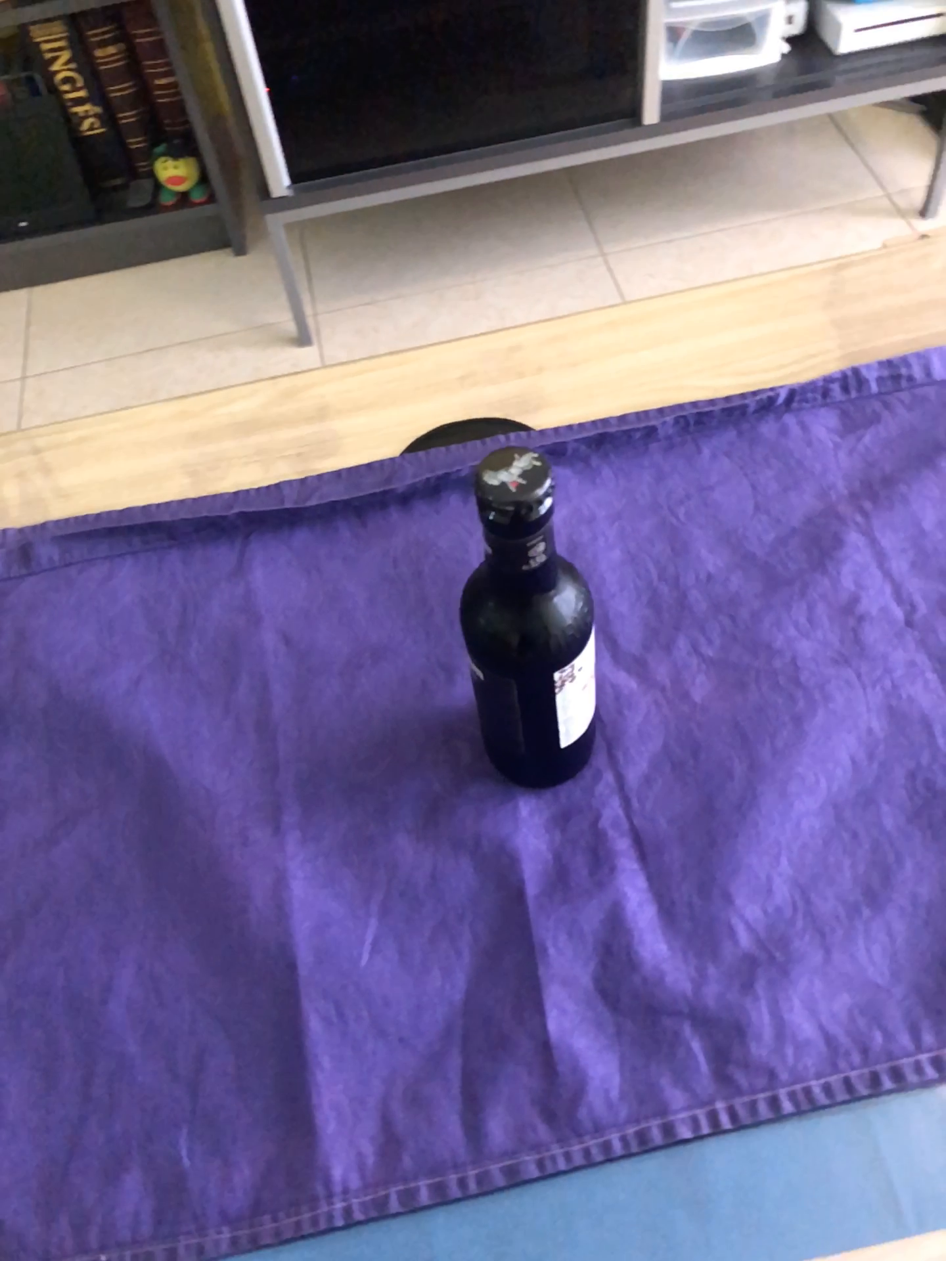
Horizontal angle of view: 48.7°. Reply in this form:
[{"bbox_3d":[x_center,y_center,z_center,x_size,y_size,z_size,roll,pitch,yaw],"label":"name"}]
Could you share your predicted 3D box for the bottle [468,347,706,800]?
[{"bbox_3d":[0.048,-0.011,0.421,0.070,0.199,0.070,-3,55,5],"label":"bottle"}]
